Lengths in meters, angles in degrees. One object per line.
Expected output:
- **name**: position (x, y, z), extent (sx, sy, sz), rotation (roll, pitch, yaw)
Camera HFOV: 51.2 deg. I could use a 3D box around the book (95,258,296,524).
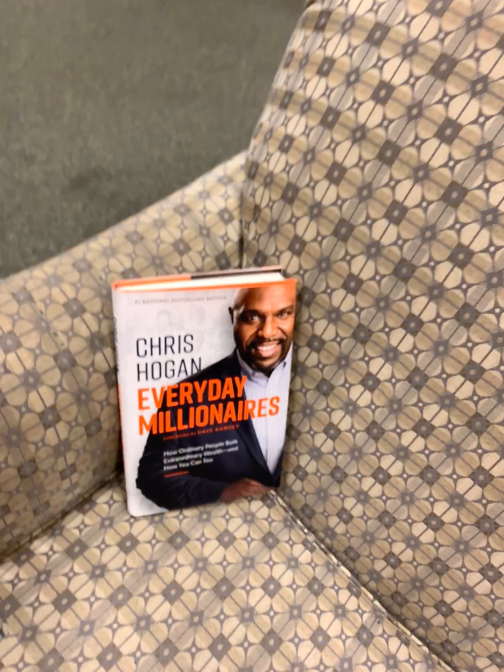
- **book**: position (-0.050, 0.055, 0.487), extent (0.160, 0.244, 0.038), rotation (-5, 28, -16)
